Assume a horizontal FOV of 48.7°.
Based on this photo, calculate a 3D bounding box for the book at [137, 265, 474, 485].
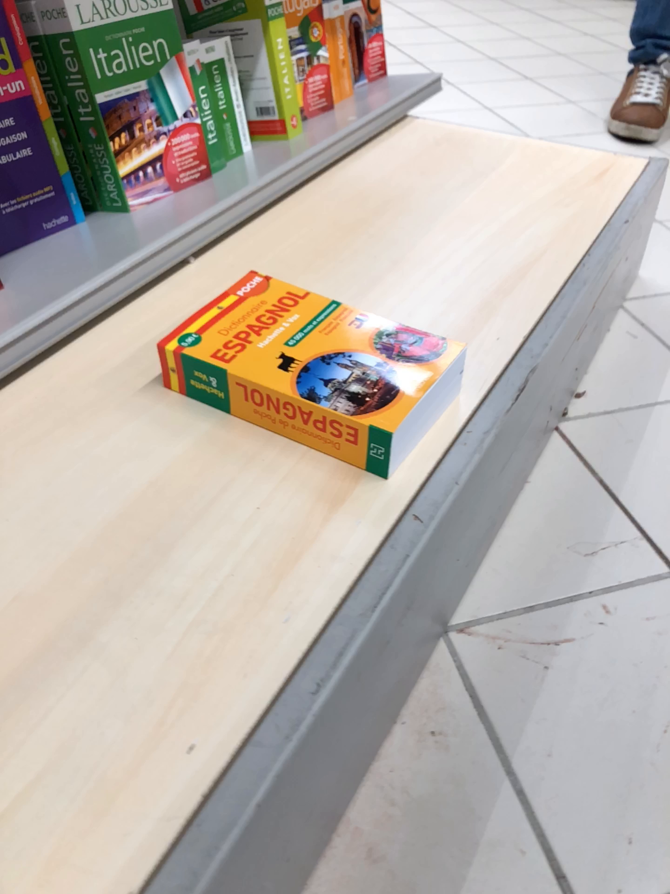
[{"bbox_3d":[-0.019,-0.058,0.504,0.190,0.040,0.118,22,45,23],"label":"book"}]
